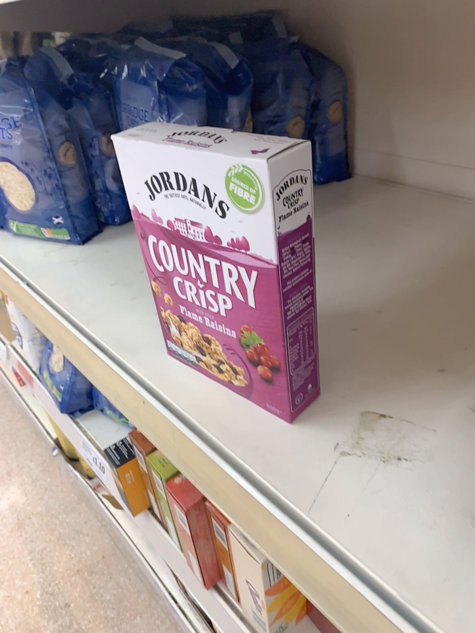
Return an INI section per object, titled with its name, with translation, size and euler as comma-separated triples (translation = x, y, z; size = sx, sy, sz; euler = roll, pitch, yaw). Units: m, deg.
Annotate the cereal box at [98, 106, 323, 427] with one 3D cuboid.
[cereal box]
translation = -0.019, -0.046, 0.440
size = 0.191, 0.248, 0.050
euler = 23, 44, 37
